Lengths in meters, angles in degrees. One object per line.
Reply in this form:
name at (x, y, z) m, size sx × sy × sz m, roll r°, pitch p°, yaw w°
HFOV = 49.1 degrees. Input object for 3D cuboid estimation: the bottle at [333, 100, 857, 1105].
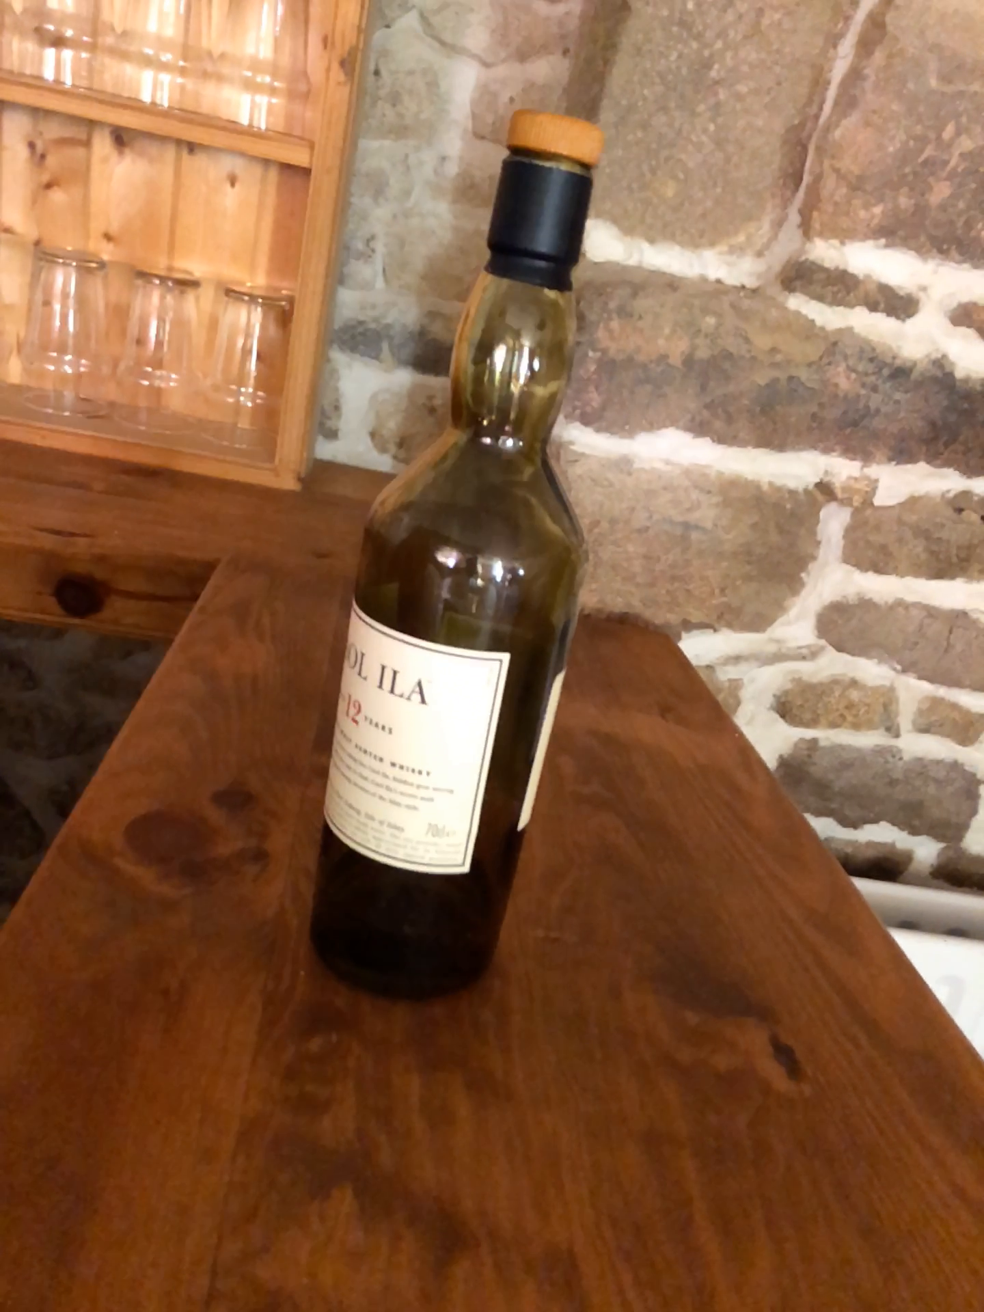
bottle at (0.022, -0.010, 0.355) m, size 0.070 × 0.299 × 0.080 m, roll -4°, pitch 24°, yaw -41°
